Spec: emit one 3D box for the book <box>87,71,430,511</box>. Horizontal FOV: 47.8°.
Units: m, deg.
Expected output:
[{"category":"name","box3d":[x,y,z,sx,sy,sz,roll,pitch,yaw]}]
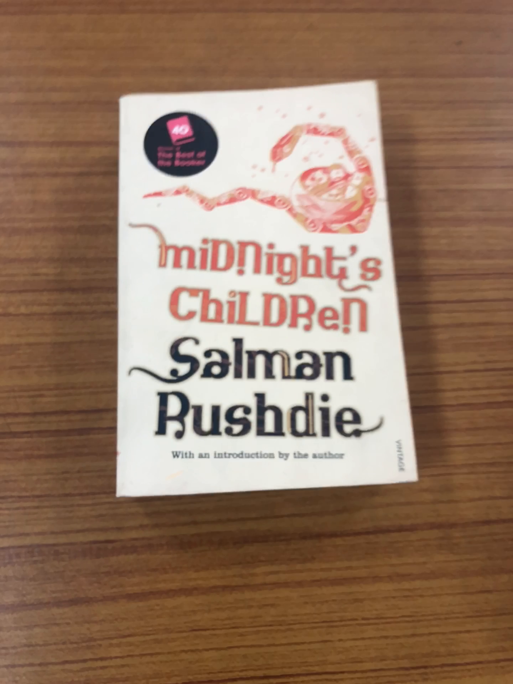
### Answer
[{"category":"book","box3d":[-0.006,-0.028,0.279,0.140,0.040,0.200,-4,76,-1]}]
